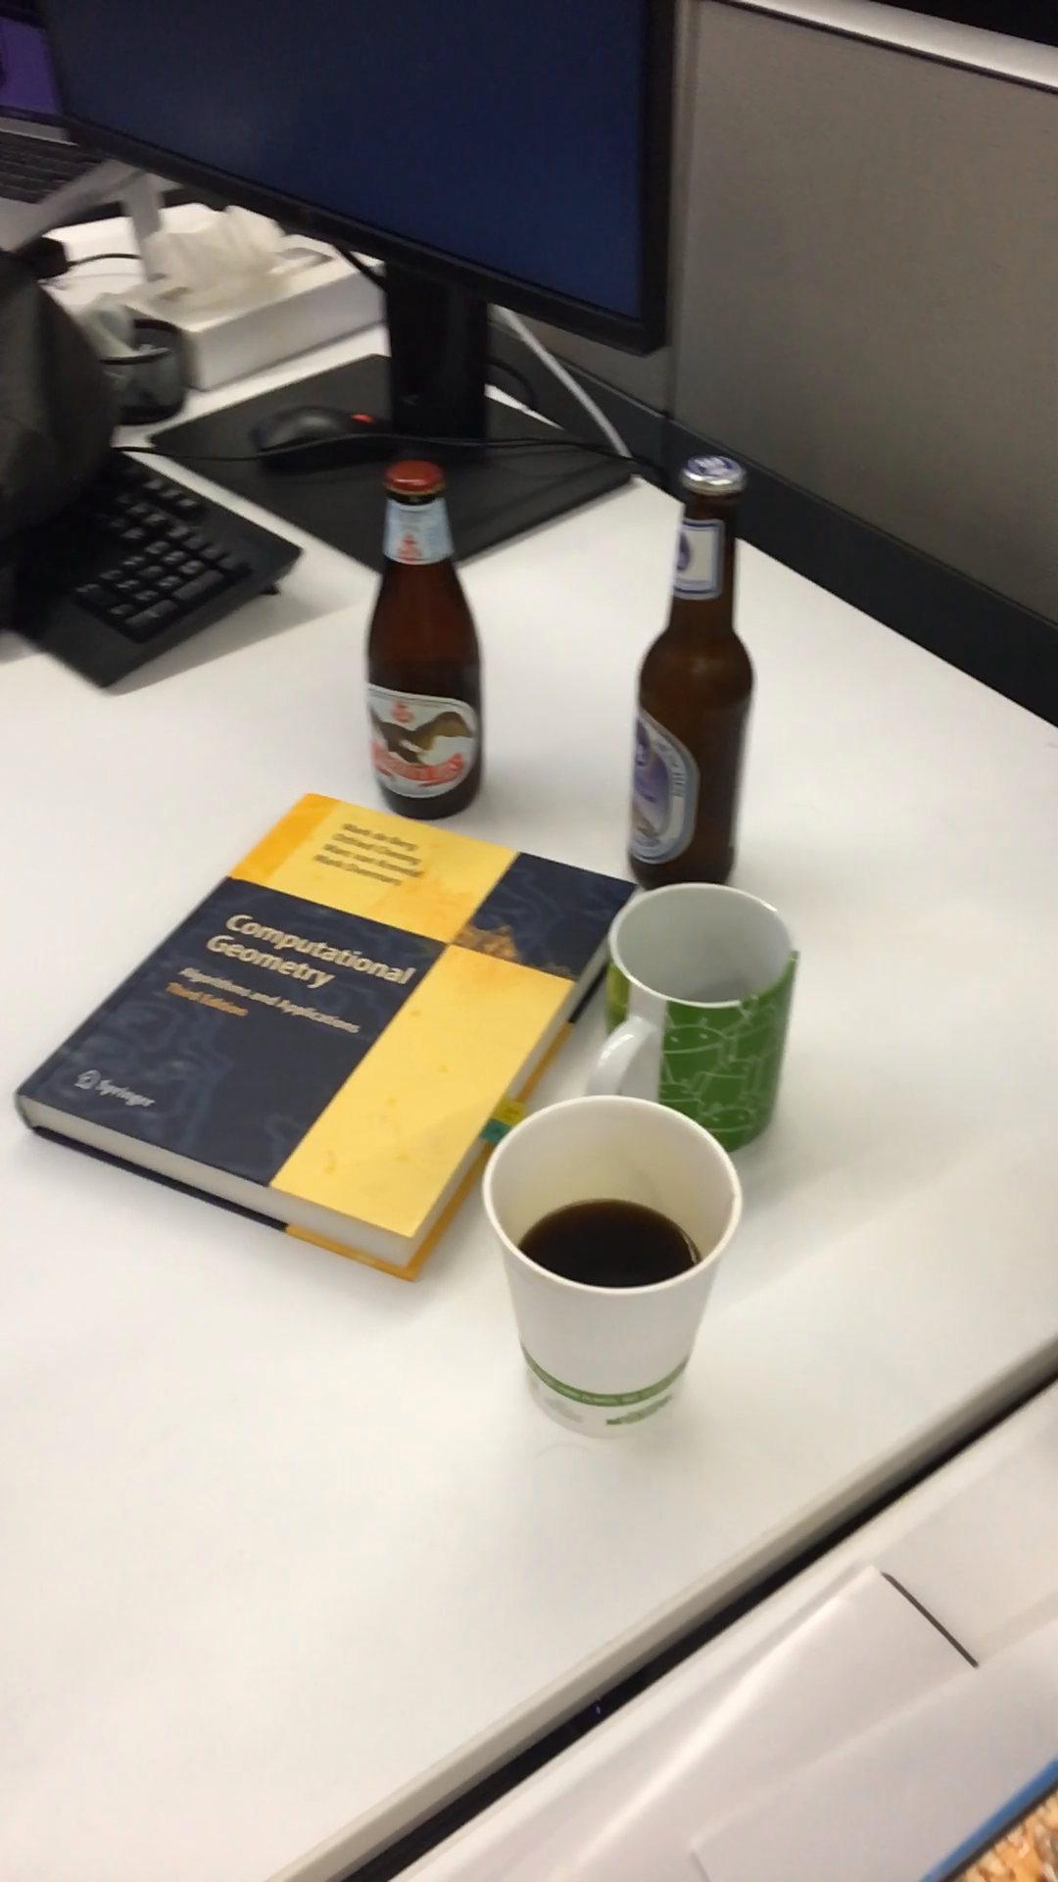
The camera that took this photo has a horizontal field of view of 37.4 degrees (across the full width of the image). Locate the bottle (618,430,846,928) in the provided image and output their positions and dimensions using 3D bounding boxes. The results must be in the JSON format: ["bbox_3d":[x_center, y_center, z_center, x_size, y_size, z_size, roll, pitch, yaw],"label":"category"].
[{"bbox_3d":[0.089,-0.116,0.731,0.070,0.220,0.060,-14,43,-15],"label":"bottle"}]

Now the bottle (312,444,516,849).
[{"bbox_3d":[-0.053,-0.145,0.786,0.070,0.180,0.070,0,42,0],"label":"bottle"}]
